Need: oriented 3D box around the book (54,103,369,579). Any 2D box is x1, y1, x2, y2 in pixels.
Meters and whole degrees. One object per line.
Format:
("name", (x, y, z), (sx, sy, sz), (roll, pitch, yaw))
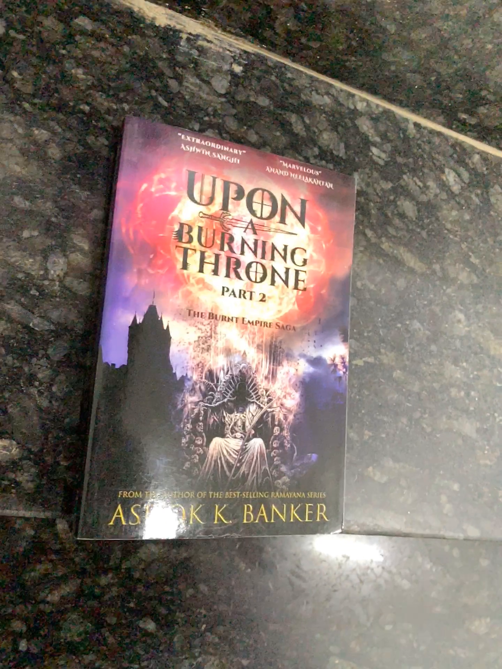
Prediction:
("book", (-0.010, 0.005, 0.257), (0.140, 0.030, 0.200), (7, 79, -23))
